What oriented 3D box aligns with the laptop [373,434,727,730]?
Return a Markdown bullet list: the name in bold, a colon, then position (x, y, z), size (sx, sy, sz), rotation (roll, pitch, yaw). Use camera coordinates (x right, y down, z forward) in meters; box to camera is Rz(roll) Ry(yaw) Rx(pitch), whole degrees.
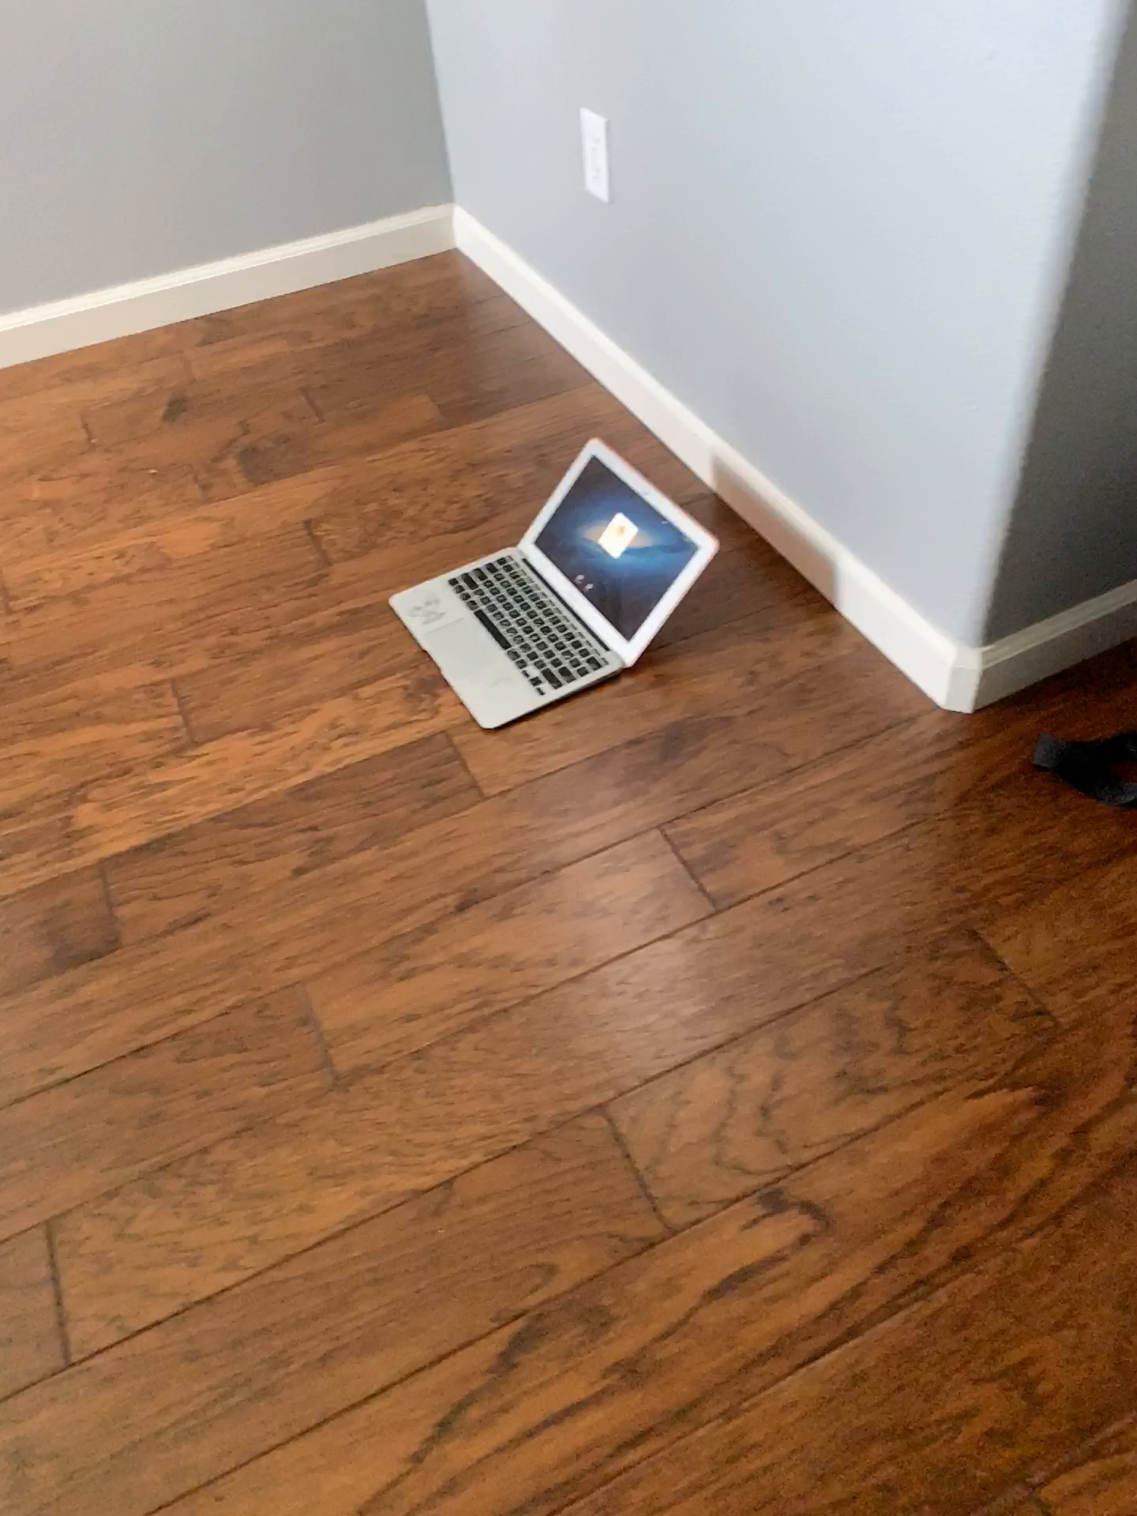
- **laptop**: position (-0.026, -0.226, 1.405), size (0.322, 0.117, 0.294), rotation (-25, 47, -15)
